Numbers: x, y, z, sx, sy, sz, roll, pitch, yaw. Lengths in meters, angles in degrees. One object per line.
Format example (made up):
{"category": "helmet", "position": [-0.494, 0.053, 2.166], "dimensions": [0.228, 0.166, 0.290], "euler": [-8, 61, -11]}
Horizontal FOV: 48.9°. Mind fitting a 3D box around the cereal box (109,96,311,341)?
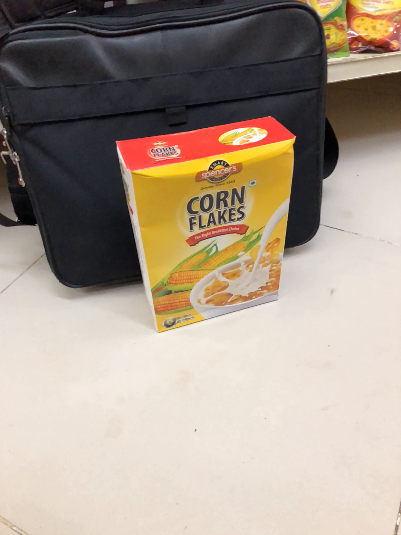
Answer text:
{"category": "cereal box", "position": [0.016, -0.045, 0.536], "dimensions": [0.190, 0.268, 0.070], "euler": [-15, 44, -10]}
